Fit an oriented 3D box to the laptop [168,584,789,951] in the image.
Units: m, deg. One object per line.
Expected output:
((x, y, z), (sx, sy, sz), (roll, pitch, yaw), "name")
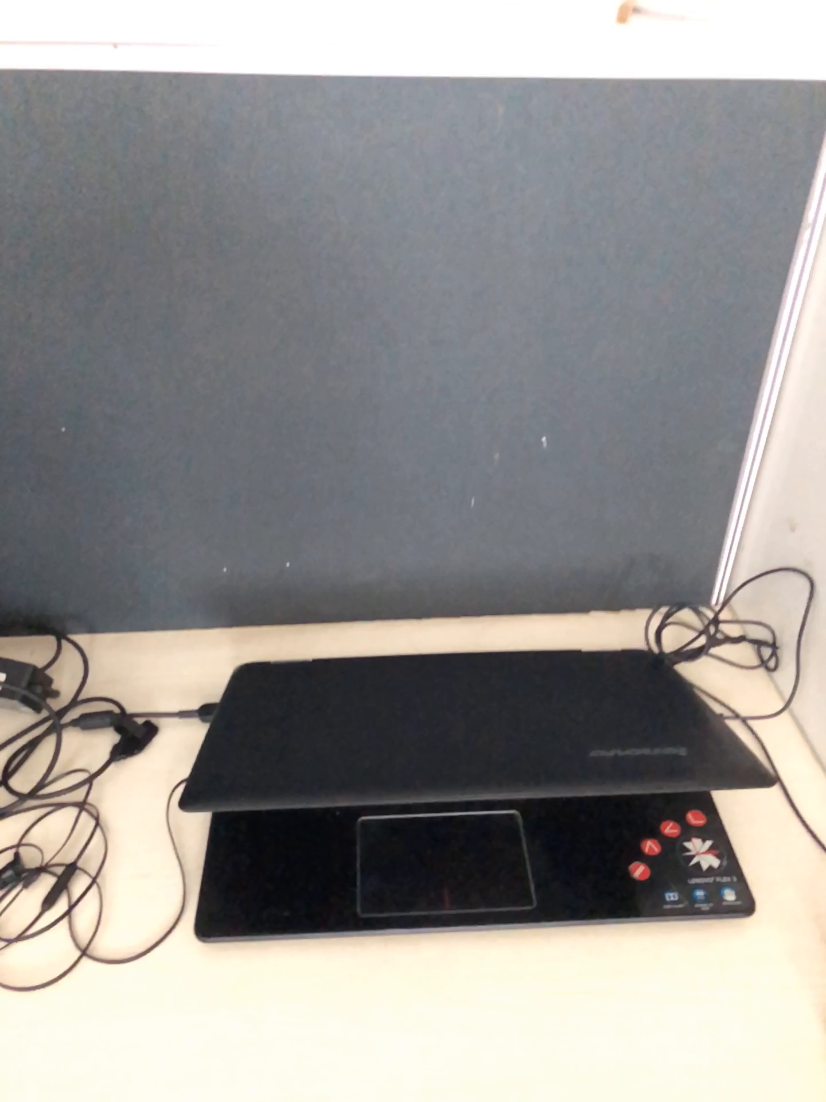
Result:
((0.031, 0.125, 0.589), (0.326, 0.083, 0.220), (-2, 34, -2), "laptop")
